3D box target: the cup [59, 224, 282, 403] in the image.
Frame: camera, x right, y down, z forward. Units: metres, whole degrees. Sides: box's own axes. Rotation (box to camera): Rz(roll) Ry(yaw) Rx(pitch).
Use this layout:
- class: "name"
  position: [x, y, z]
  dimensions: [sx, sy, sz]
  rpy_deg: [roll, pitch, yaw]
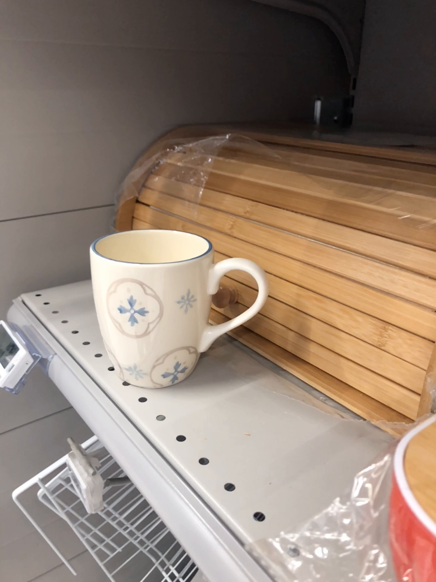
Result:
- class: "cup"
  position: [-0.027, 0.010, 0.347]
  dimensions: [0.133, 0.089, 0.084]
  rpy_deg: [5, 23, 11]
